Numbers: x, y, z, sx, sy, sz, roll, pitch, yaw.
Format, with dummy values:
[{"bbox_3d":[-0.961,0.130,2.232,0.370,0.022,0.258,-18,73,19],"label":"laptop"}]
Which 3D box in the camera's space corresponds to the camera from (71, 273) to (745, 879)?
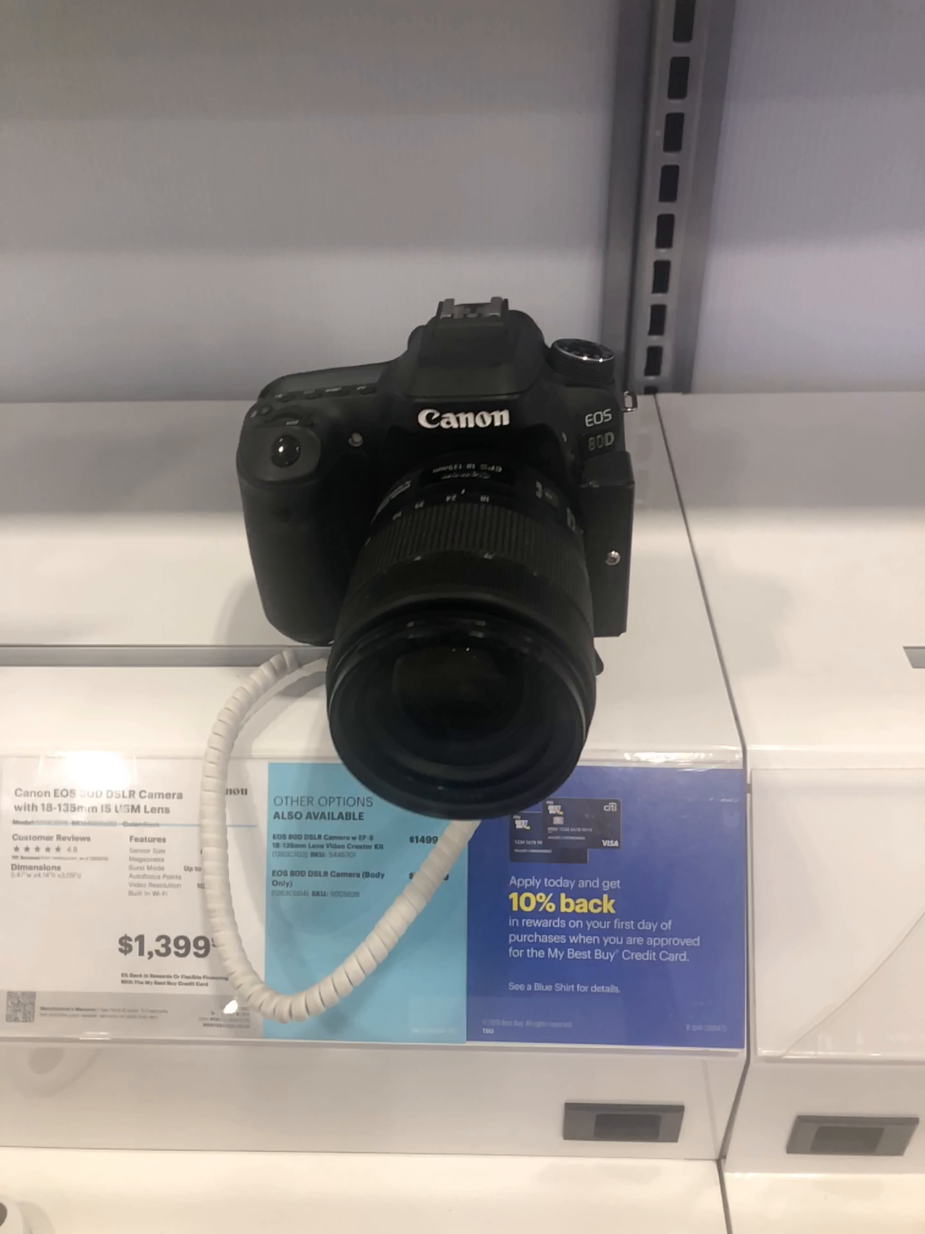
[{"bbox_3d":[-0.009,-0.025,0.332,0.150,0.110,0.181,0,37,3],"label":"camera"}]
